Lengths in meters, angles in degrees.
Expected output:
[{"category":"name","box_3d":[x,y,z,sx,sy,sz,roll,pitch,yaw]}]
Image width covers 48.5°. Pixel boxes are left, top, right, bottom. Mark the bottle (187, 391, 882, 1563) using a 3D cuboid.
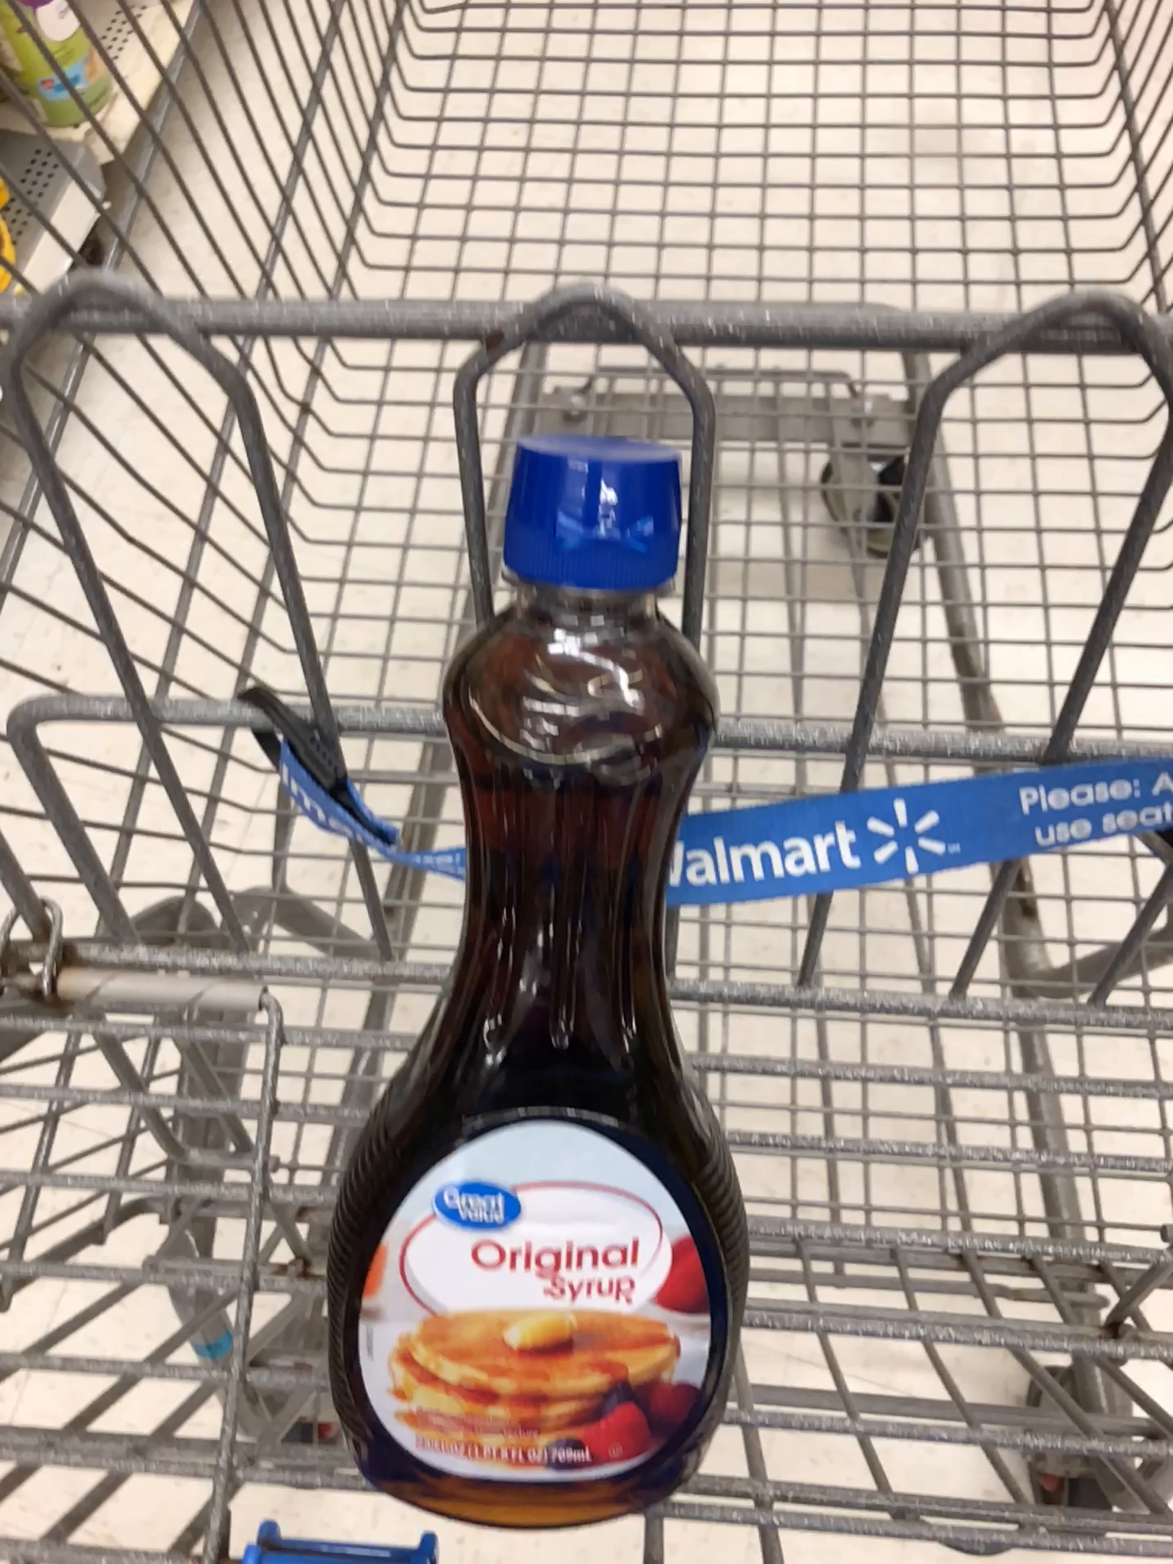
[{"category":"bottle","box_3d":[-0.013,0.046,0.295,0.120,0.070,0.250,5,108,5]}]
